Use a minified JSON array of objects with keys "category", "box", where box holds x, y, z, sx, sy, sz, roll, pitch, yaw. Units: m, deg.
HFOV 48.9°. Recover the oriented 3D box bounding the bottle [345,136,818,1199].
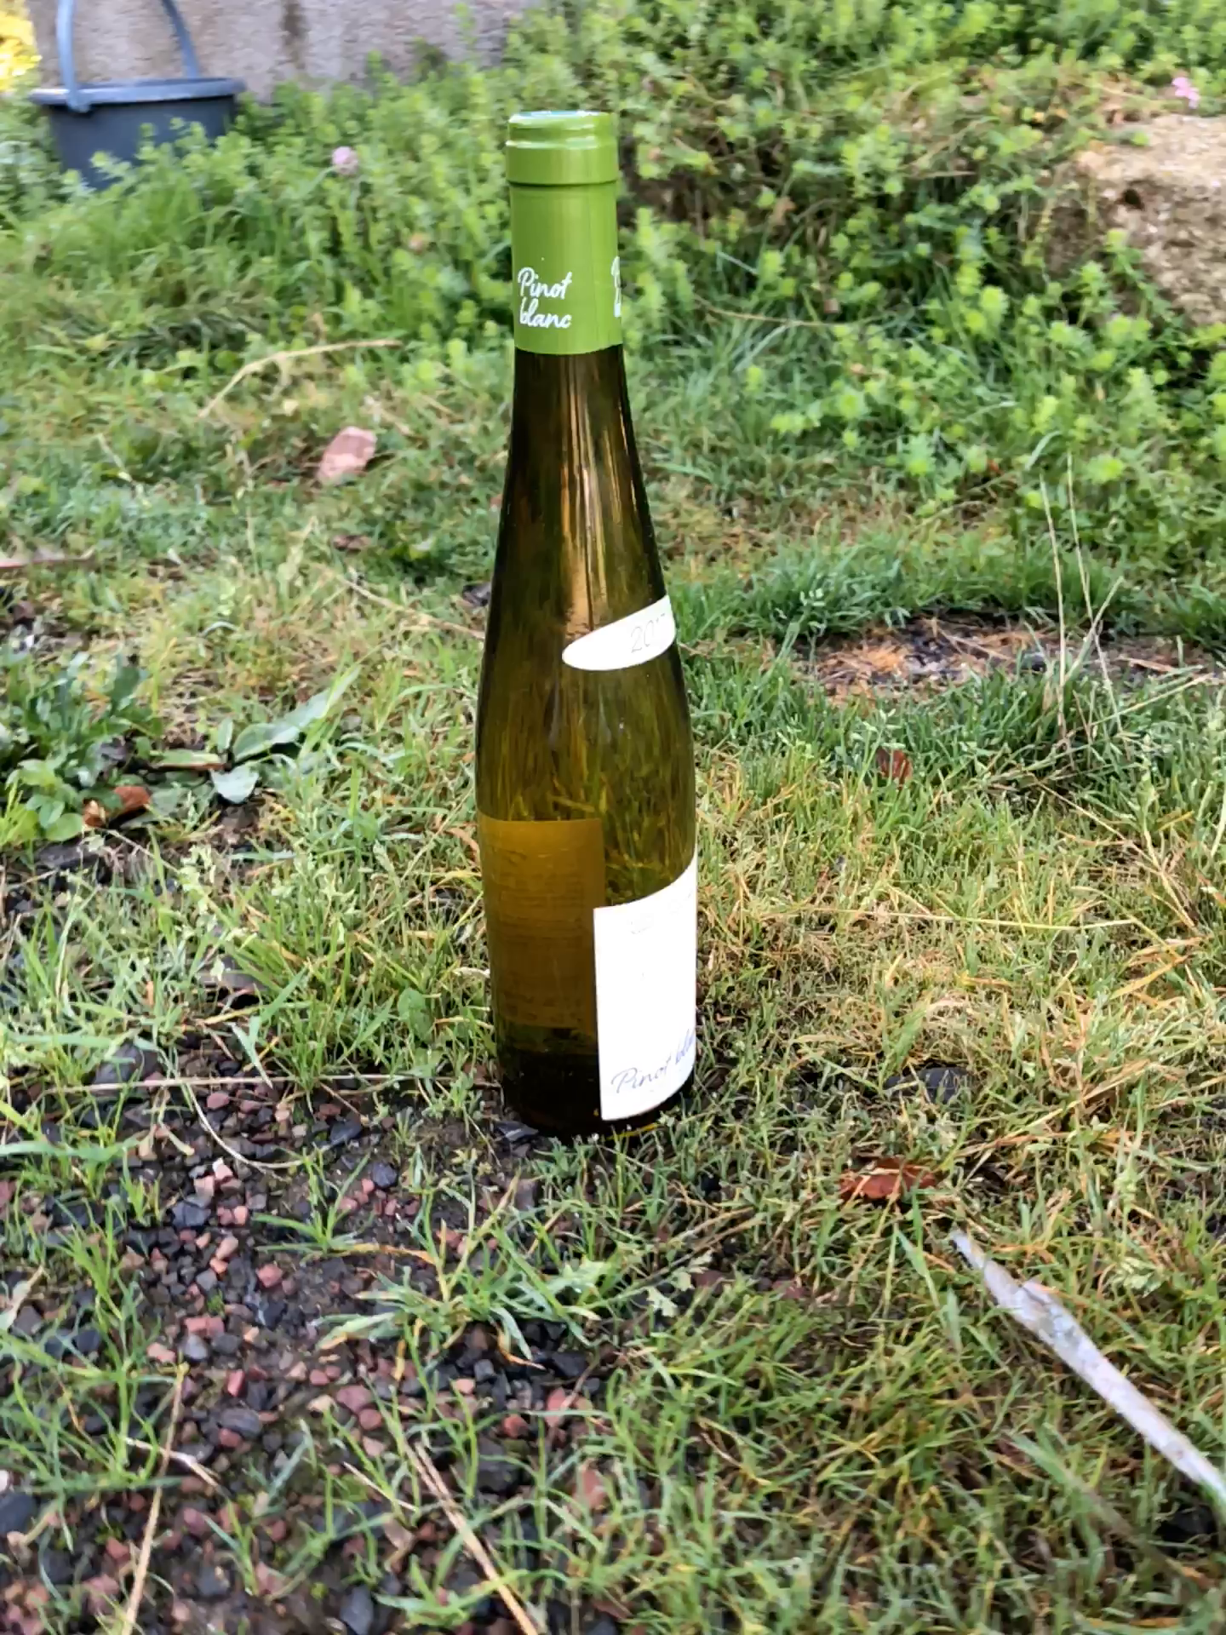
[{"category":"bottle","box":[0.001,-0.039,0.437,0.090,0.318,0.091,-2,30,1]}]
